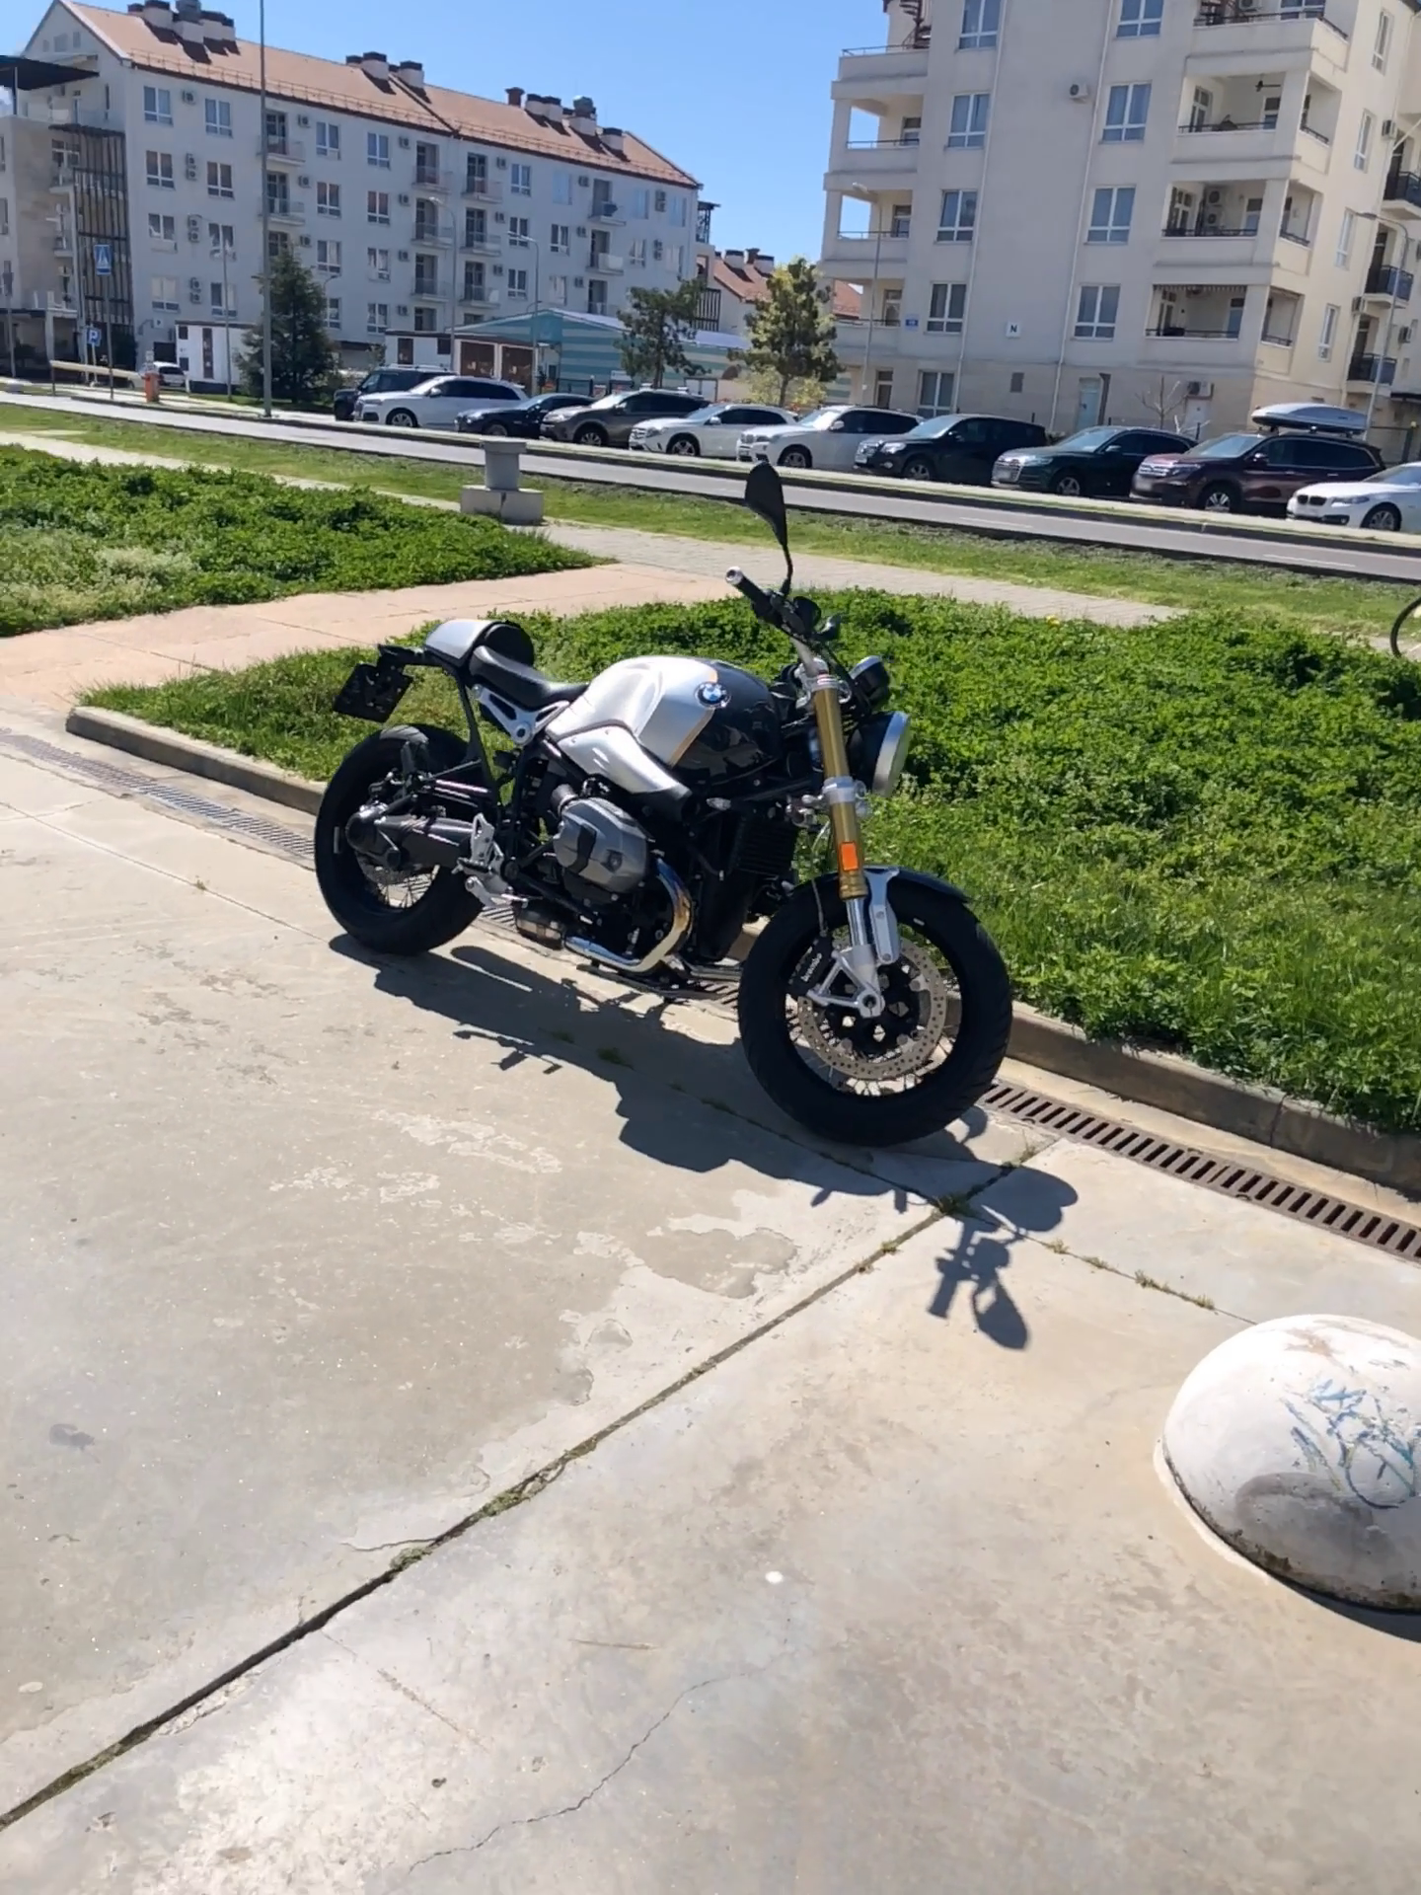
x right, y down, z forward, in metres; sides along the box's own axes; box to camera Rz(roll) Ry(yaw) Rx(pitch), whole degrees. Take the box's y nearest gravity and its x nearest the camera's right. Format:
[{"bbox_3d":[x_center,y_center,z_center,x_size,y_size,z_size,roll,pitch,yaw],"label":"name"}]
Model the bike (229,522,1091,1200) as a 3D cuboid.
[{"bbox_3d":[-0.231,-0.347,3.805,2.070,1.123,0.649,16,21,30],"label":"bike"}]
